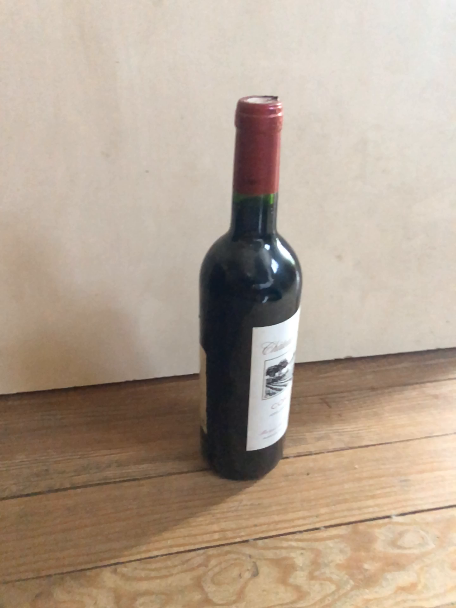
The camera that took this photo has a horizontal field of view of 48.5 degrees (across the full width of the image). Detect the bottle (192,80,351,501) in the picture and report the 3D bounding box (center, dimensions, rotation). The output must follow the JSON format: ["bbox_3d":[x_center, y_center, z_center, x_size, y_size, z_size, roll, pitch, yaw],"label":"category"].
[{"bbox_3d":[0.023,0.006,0.360,0.070,0.288,0.081,13,34,15],"label":"bottle"}]
